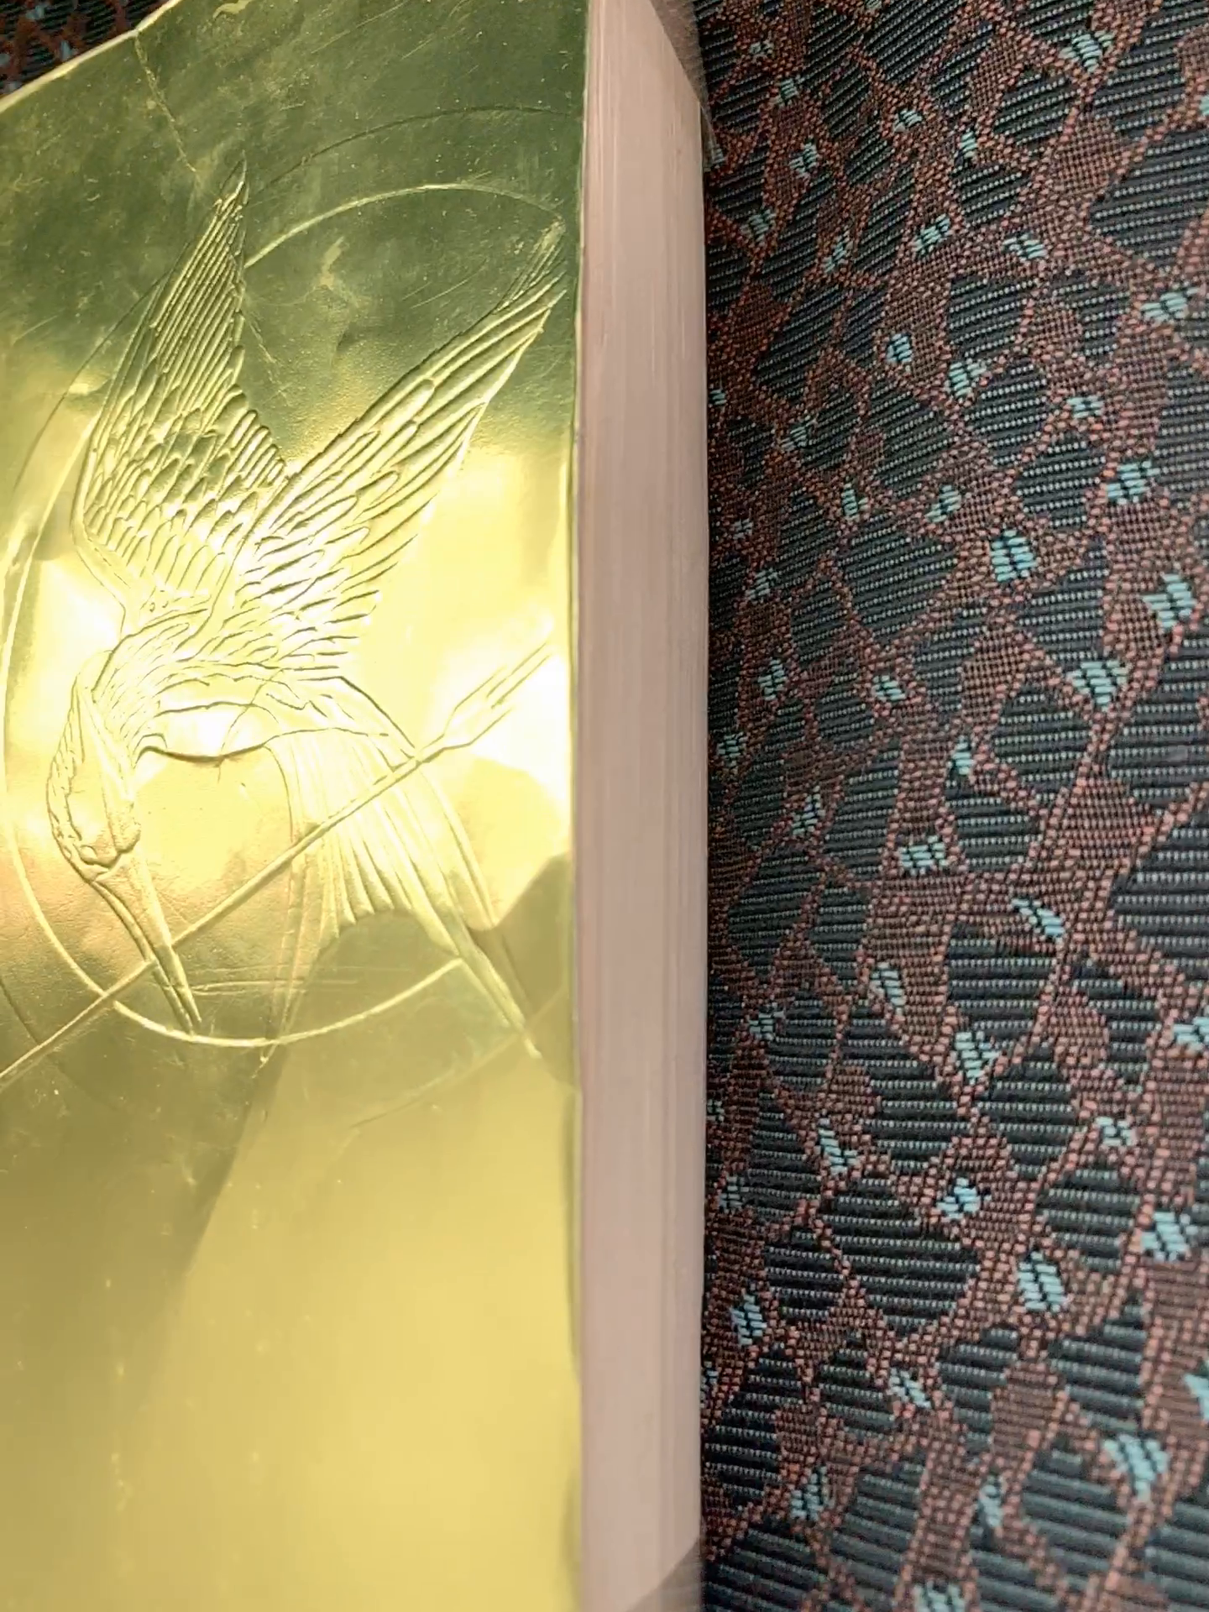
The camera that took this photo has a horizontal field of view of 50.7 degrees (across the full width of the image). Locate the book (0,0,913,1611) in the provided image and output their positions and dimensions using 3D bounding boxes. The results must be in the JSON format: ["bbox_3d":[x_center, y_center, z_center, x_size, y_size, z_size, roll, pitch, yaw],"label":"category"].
[{"bbox_3d":[-0.043,-0.007,0.155,0.142,0.037,0.200,-7,74,28],"label":"book"}]
